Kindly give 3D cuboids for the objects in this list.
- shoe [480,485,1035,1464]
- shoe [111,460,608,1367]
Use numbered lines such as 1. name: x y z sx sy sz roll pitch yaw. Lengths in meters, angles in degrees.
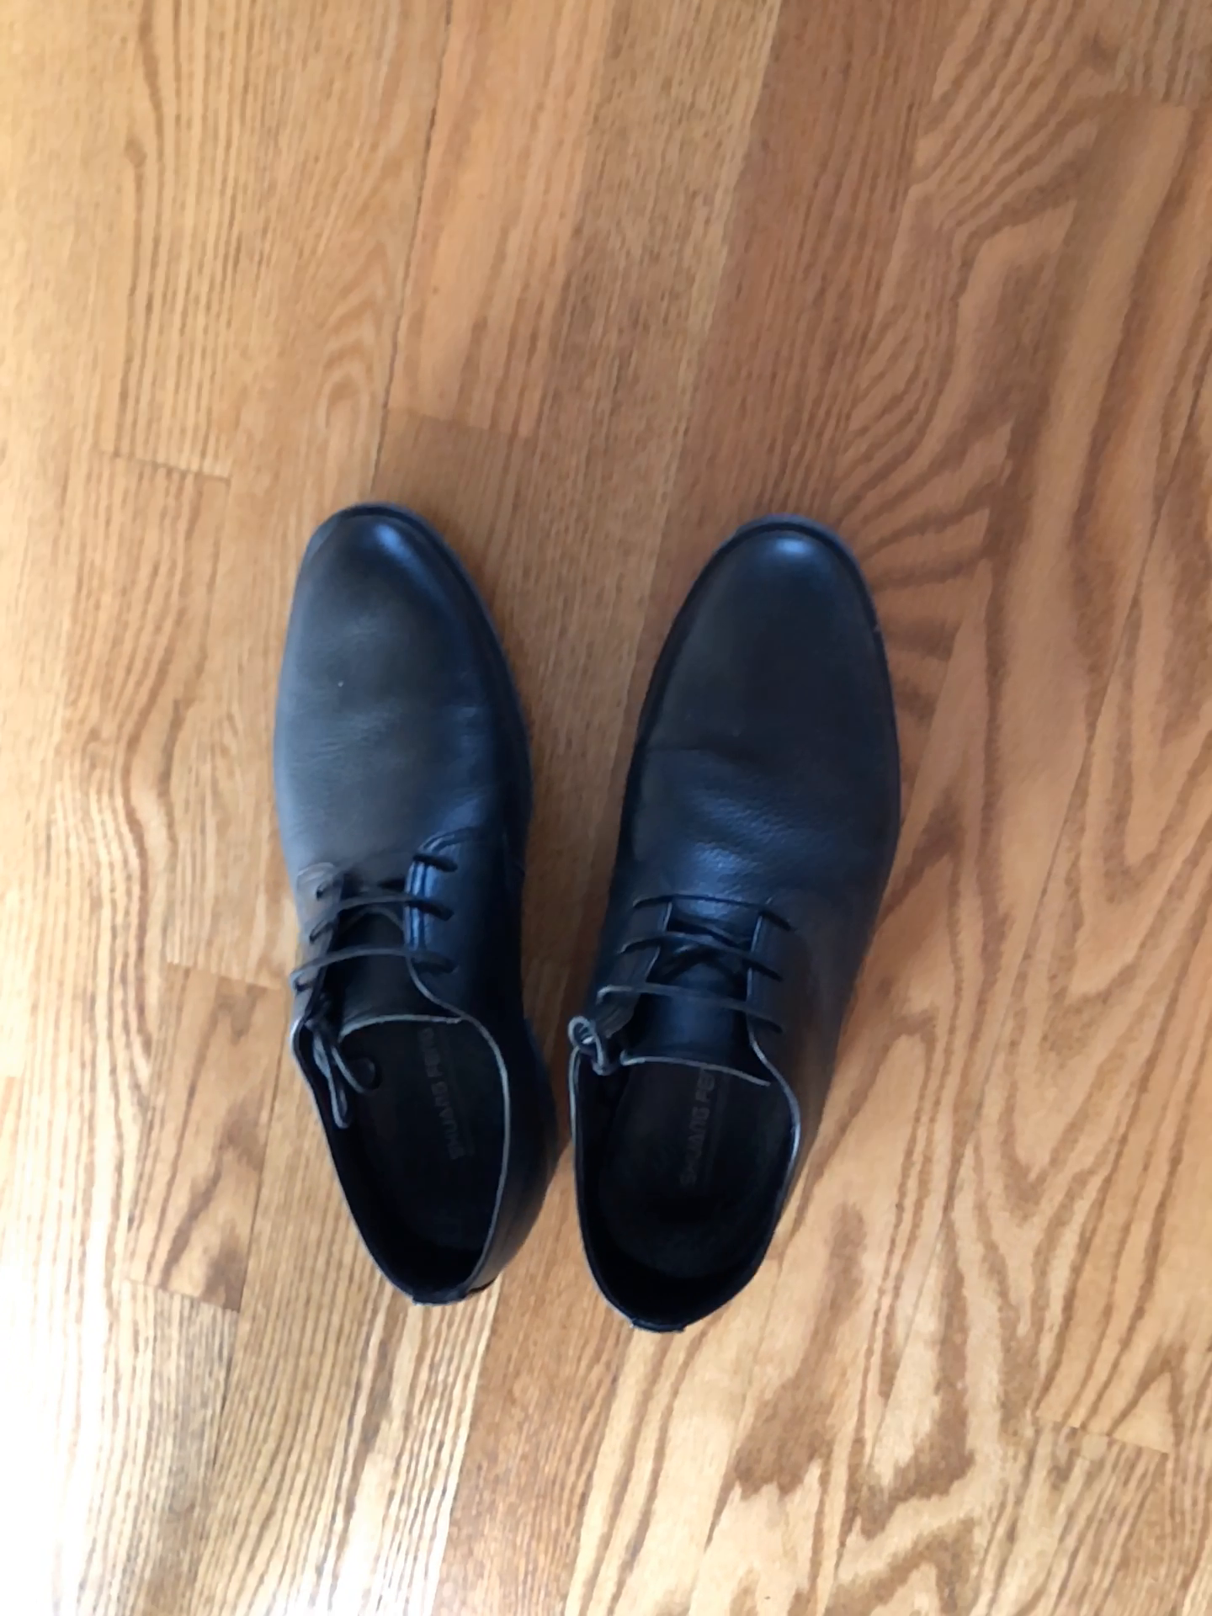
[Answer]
1. shoe: 0.047 0.050 0.476 0.110 0.124 0.299 12 103 6
2. shoe: -0.078 0.035 0.504 0.110 0.124 0.304 -5 101 9
